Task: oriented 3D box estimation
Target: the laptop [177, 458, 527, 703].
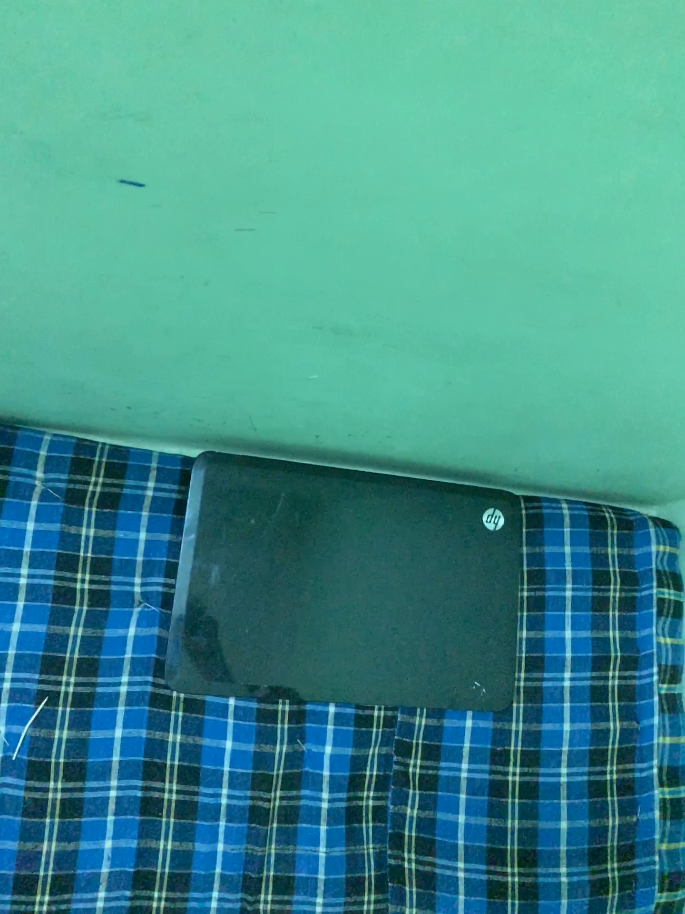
[{"bbox_3d":[0.022,0.129,0.711,0.346,0.018,0.217,7,79,-13],"label":"laptop"}]
